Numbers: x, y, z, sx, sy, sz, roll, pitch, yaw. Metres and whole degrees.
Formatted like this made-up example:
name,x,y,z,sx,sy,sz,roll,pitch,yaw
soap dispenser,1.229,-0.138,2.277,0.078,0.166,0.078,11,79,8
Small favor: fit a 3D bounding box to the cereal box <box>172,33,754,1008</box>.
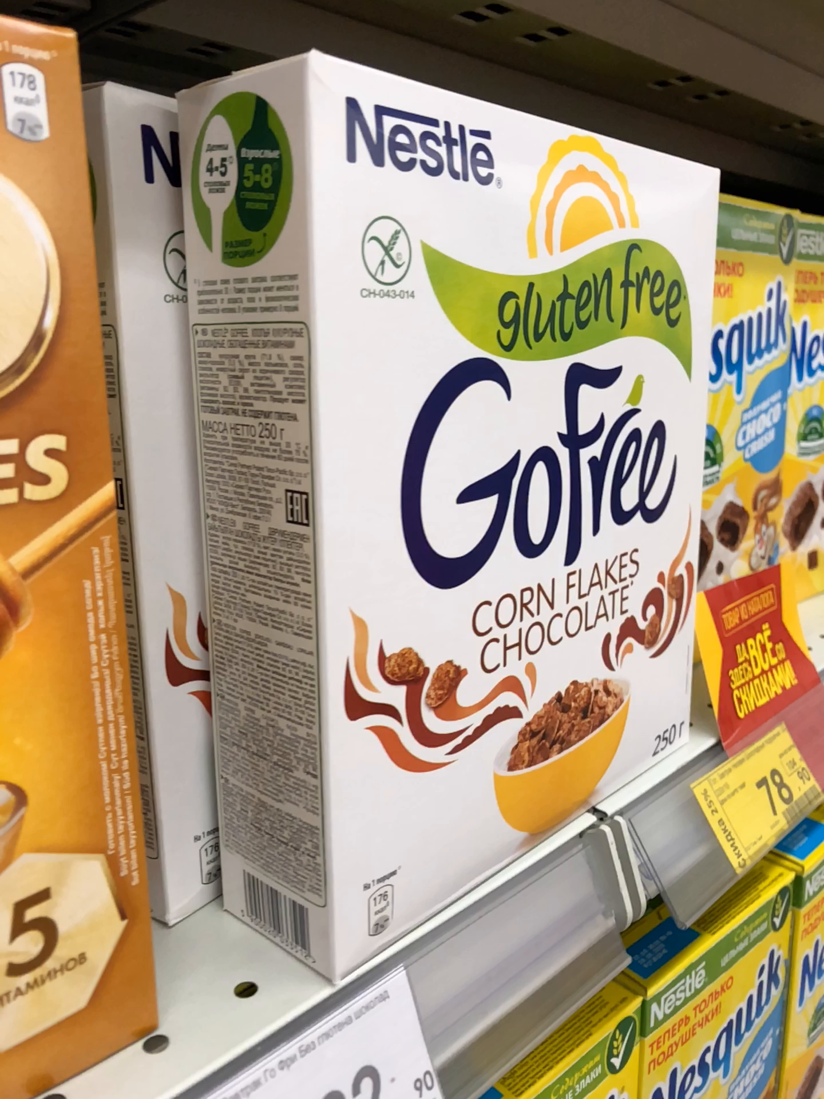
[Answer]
name,x,y,z,sx,sy,sz,roll,pitch,yaw
cereal box,0.033,-0.014,0.289,0.050,0.219,0.201,11,16,44
